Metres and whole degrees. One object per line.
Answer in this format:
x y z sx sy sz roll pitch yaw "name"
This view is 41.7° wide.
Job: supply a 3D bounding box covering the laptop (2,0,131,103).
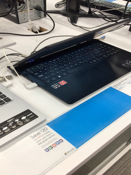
0.069 -0.133 0.527 0.363 0.157 0.243 -30 52 -28 "laptop"
